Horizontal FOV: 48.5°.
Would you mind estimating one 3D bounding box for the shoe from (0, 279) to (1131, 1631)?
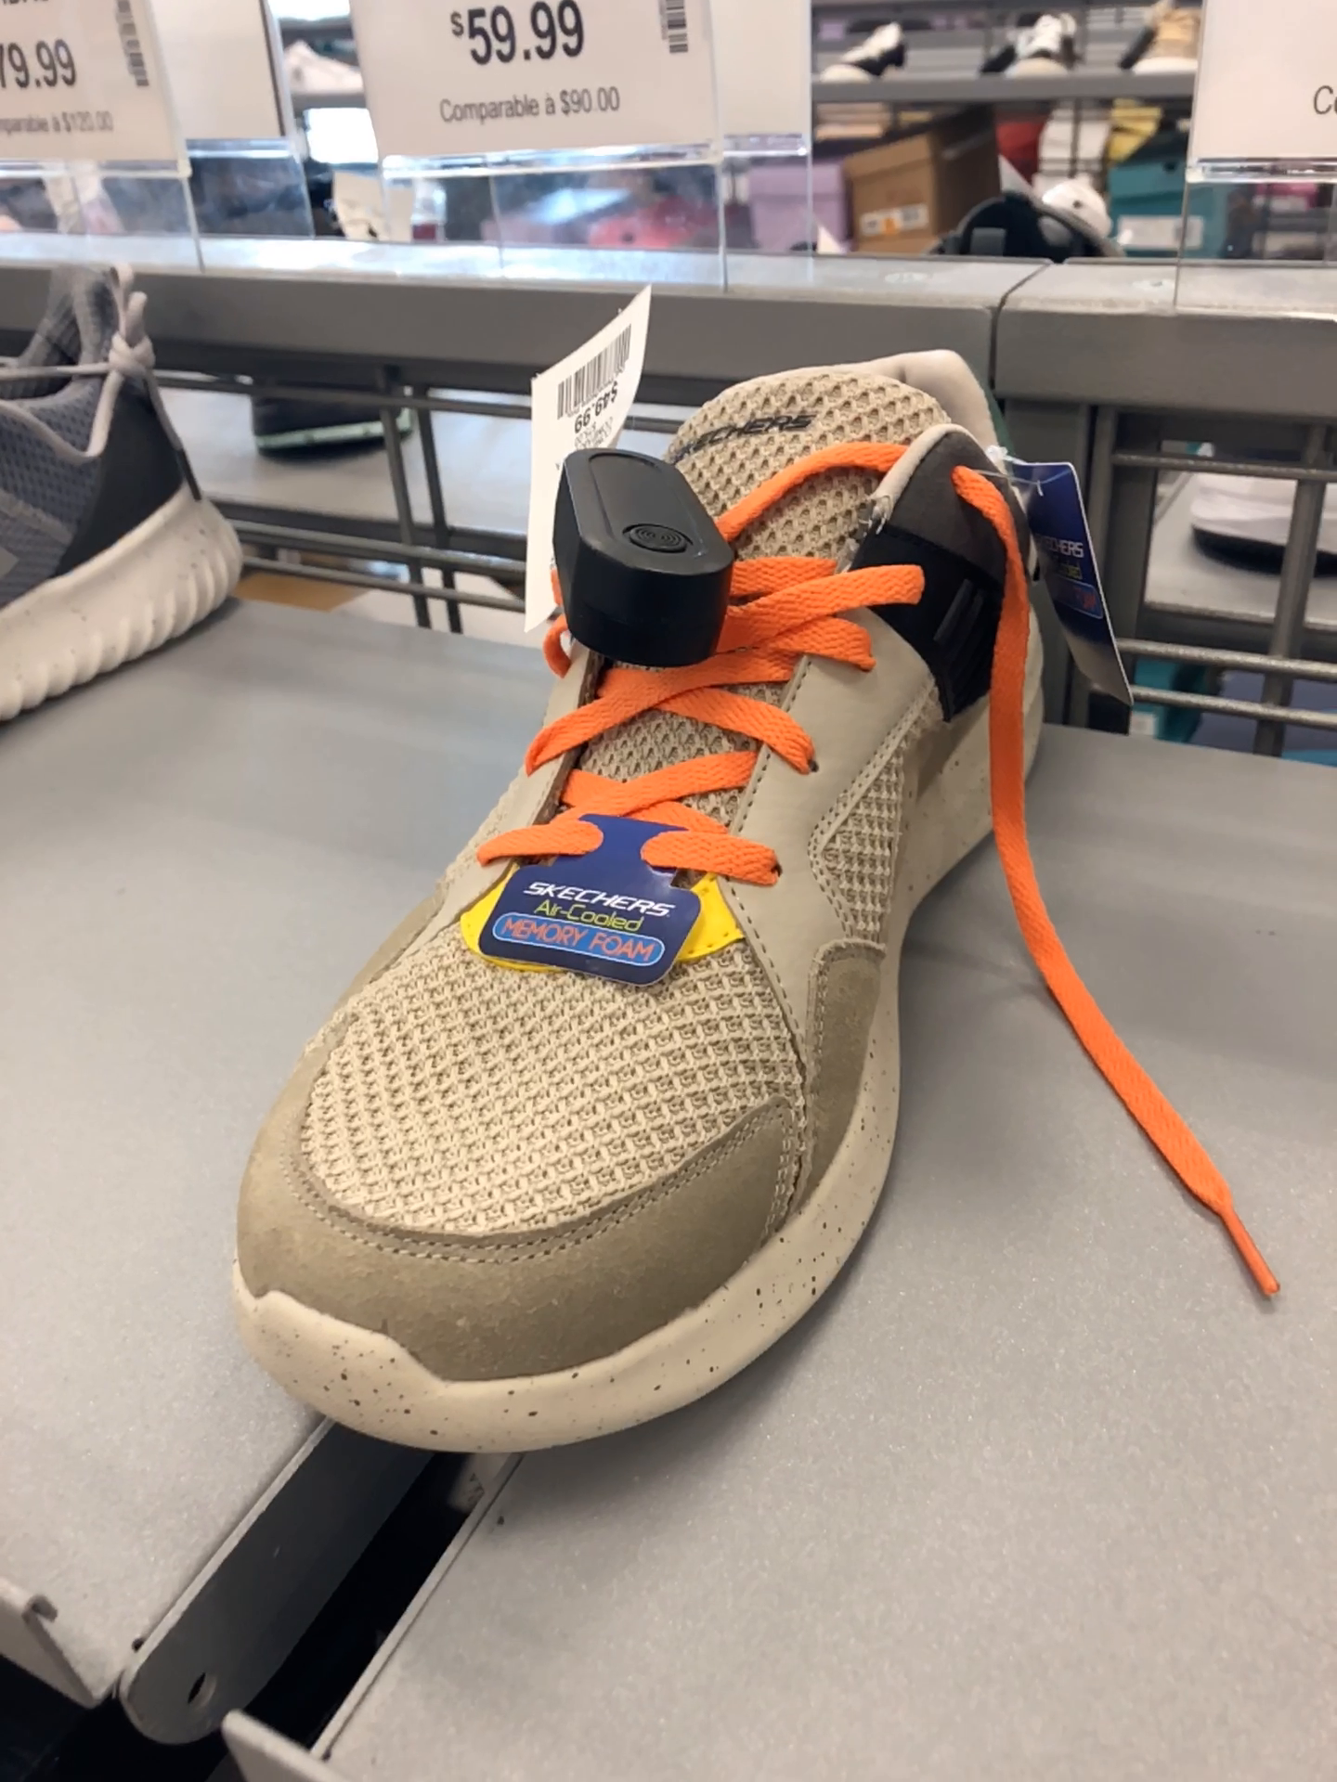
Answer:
[{"bbox_3d":[0.001,-0.029,0.305,0.125,0.109,0.282,11,39,22],"label":"shoe"}]
